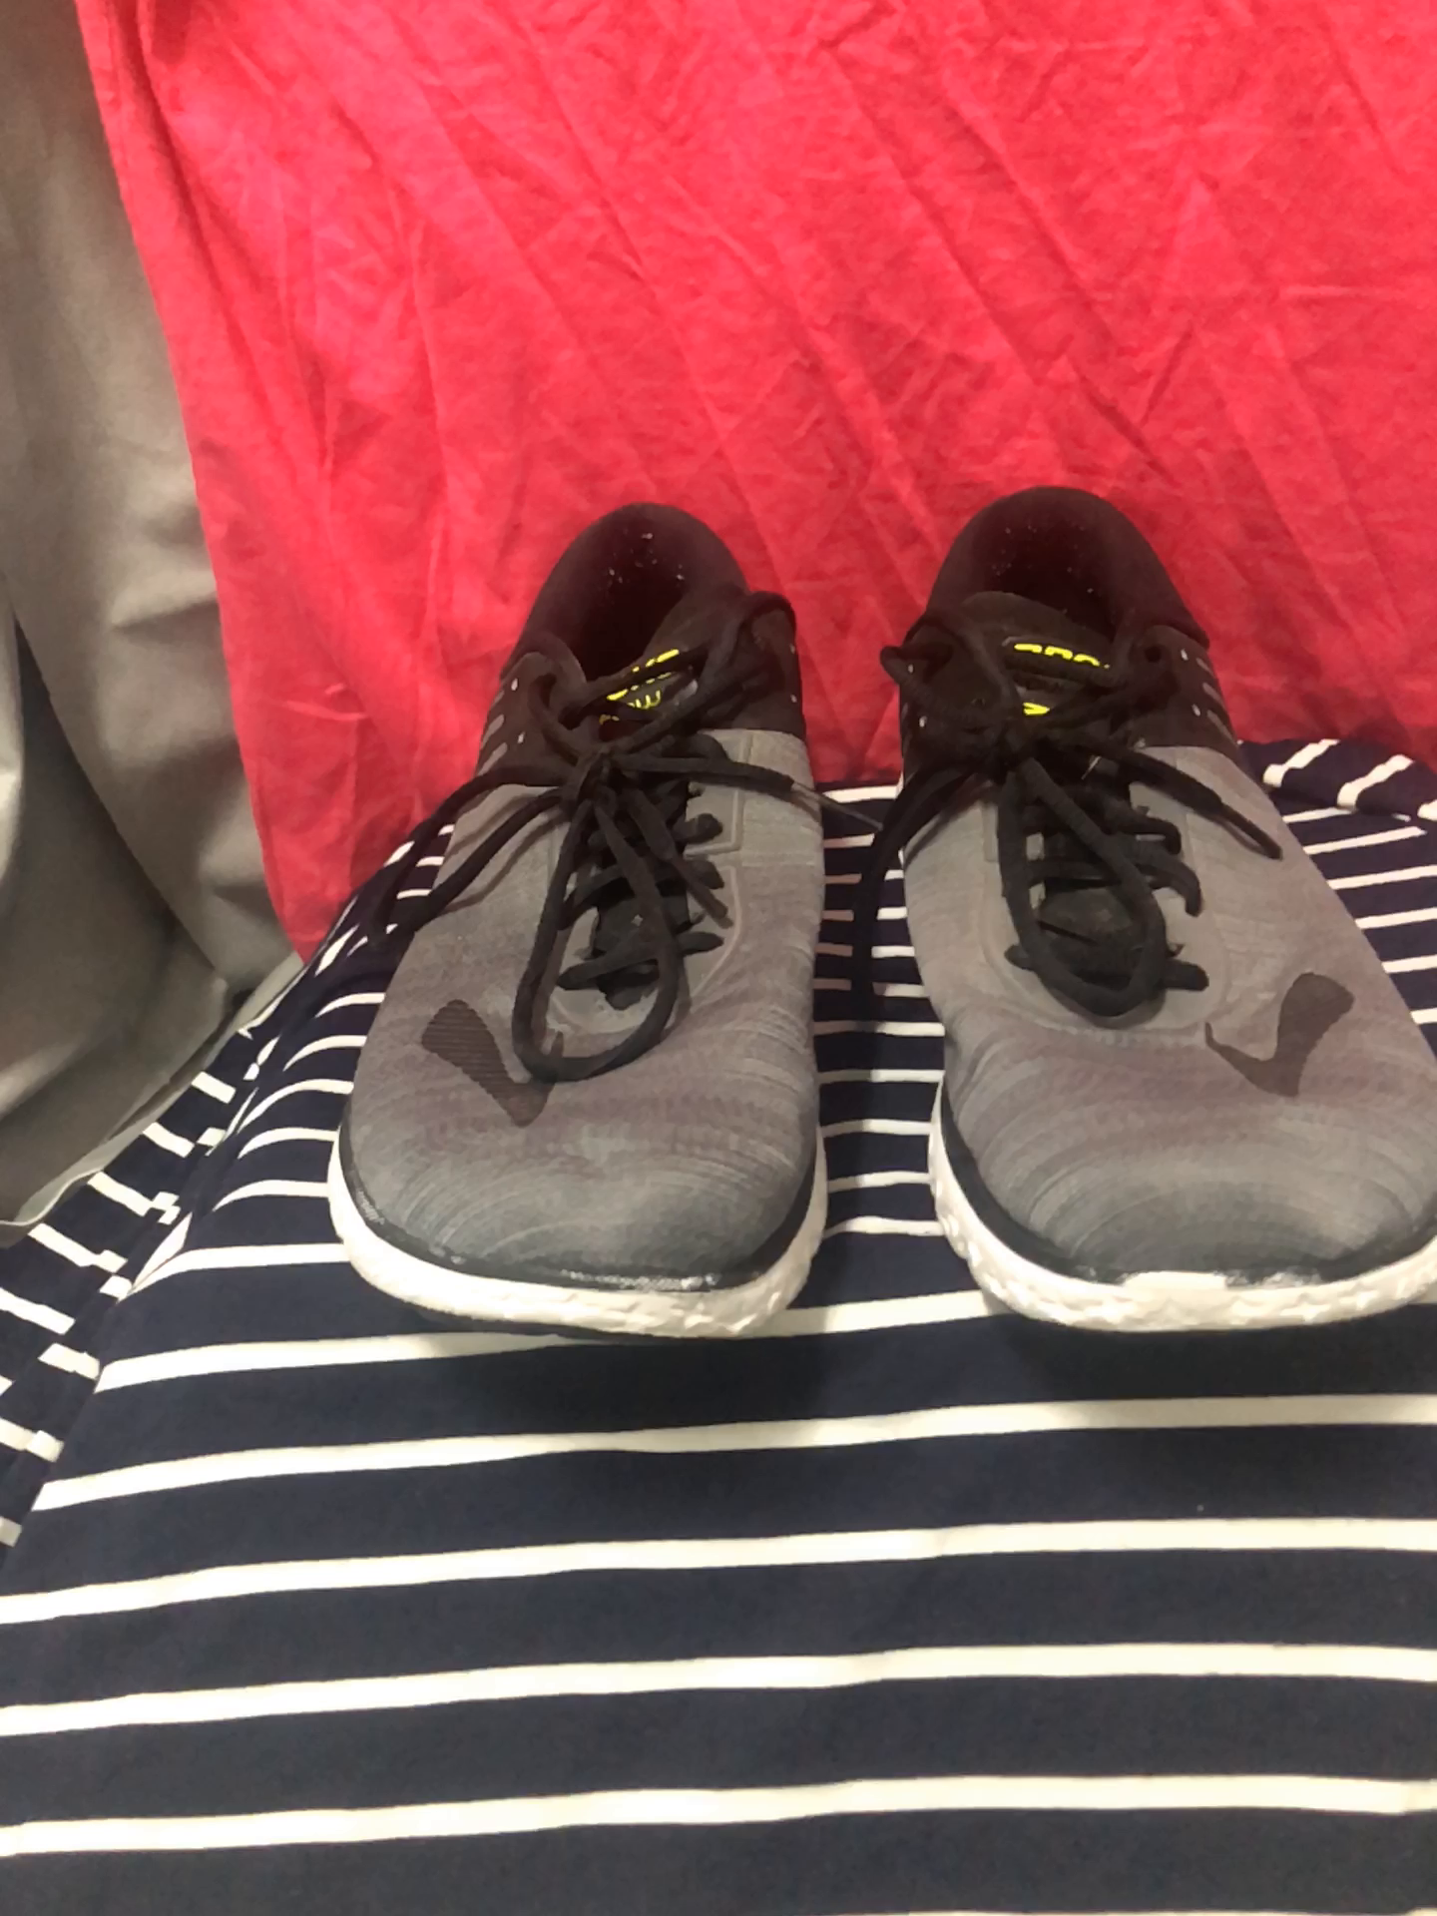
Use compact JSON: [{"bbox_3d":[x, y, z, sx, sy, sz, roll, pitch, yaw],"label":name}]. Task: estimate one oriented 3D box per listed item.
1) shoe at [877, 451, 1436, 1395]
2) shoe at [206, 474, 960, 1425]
[{"bbox_3d":[0.100,-0.038,0.349,0.104,0.079,0.282,-4,29,2],"label":"shoe"},{"bbox_3d":[-0.018,-0.034,0.361,0.102,0.079,0.293,-4,29,1],"label":"shoe"}]
